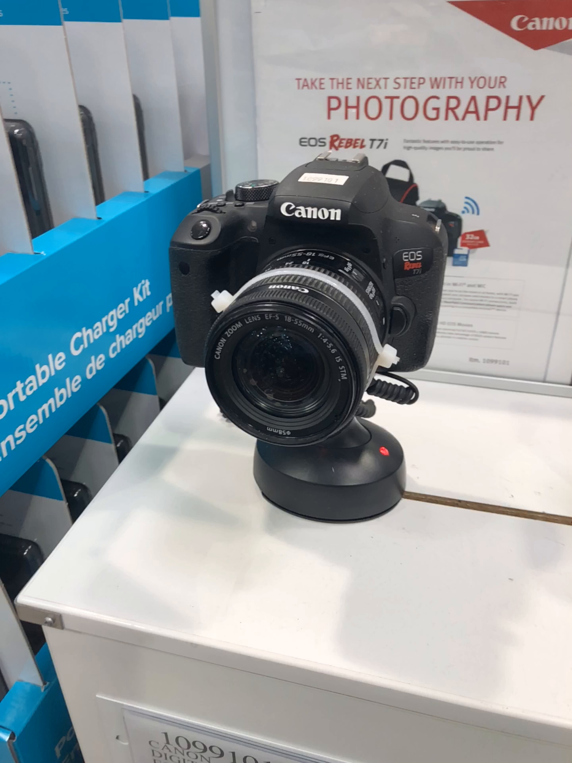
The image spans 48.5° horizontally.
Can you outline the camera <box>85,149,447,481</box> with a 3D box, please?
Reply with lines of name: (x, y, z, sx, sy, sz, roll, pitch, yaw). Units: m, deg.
camera: (0.005, -0.046, 0.315, 0.130, 0.100, 0.150, 7, 31, 12)
